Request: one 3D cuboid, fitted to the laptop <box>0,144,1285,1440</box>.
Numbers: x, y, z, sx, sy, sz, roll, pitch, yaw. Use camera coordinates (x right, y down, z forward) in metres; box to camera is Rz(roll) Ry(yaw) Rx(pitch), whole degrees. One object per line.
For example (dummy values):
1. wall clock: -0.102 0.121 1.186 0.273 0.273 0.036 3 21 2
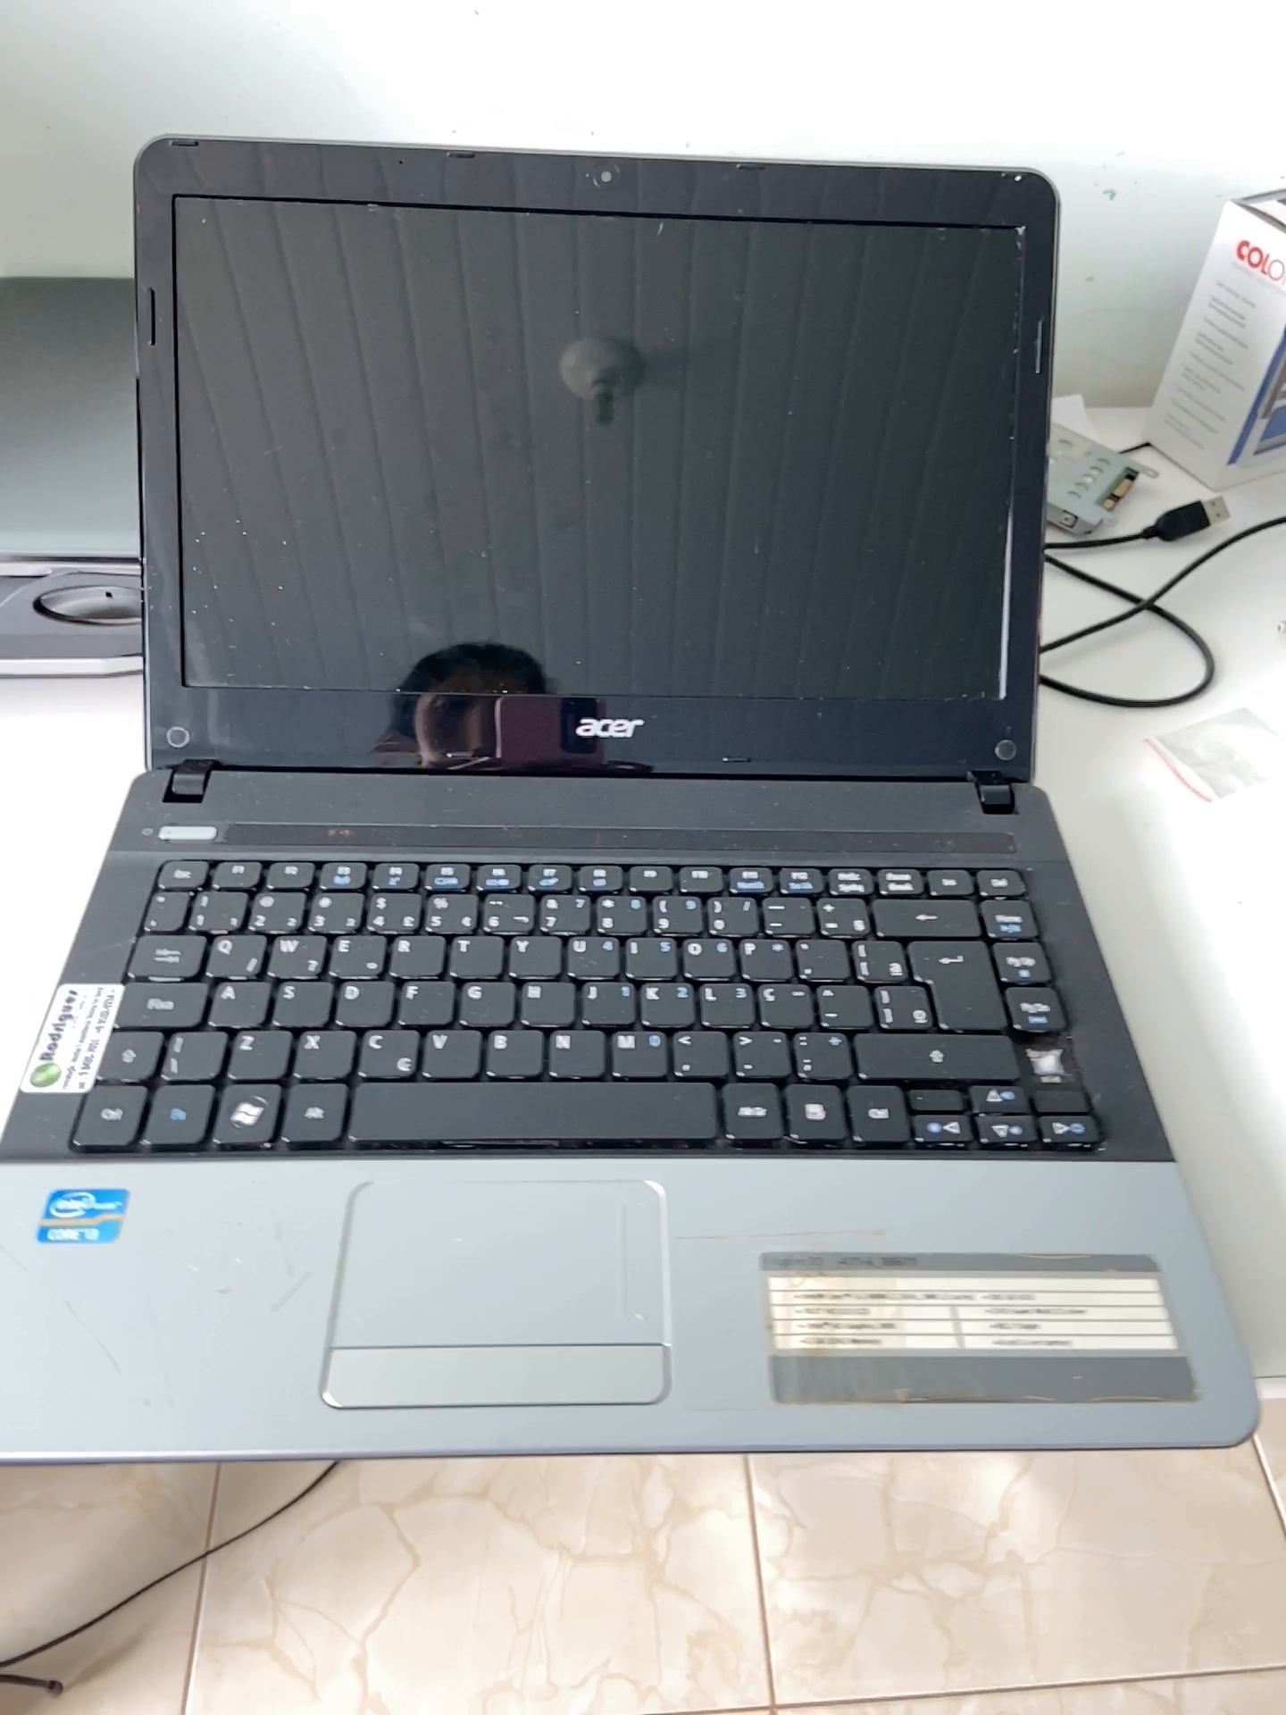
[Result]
1. laptop: -0.010 -0.057 0.407 0.332 0.163 0.398 1 46 -3
